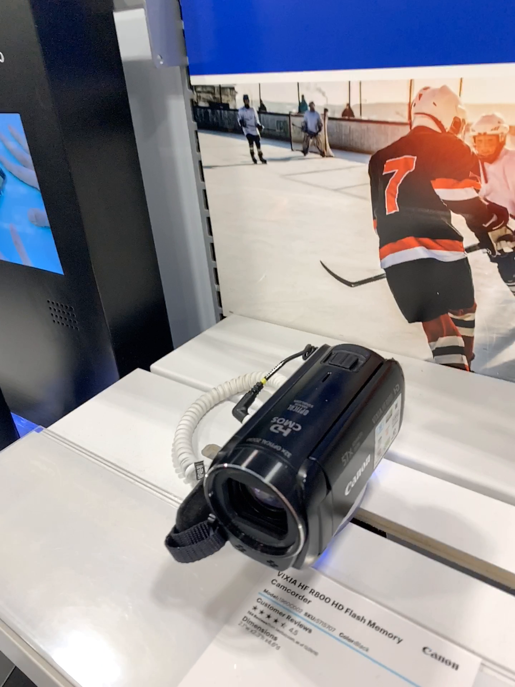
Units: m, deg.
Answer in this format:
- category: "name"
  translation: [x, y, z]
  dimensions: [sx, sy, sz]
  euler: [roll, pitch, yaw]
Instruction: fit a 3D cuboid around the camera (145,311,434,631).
- category: "camera"
  translation: [0.025, 0.047, 0.262]
  dimensions: [0.072, 0.062, 0.140]
  euler: [15, 36, 32]
